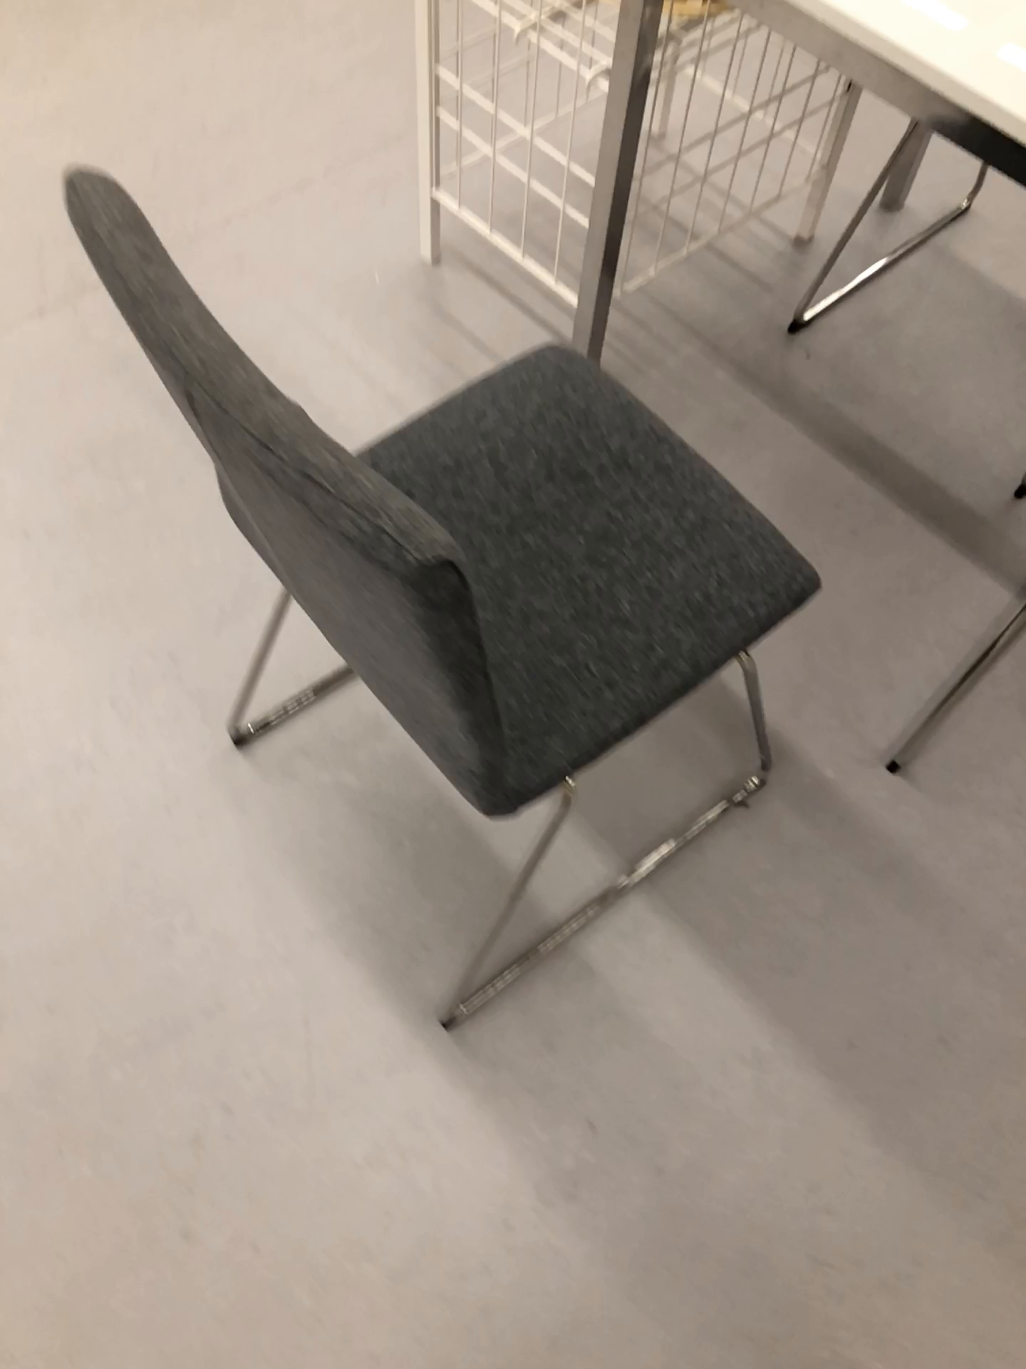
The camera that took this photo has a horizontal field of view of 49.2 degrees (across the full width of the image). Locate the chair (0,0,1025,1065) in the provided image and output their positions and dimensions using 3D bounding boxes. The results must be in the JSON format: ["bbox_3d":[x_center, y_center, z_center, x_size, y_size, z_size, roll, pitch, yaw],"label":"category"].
[{"bbox_3d":[0.000,-0.110,1.100,0.591,0.836,0.511,-34,67,-20],"label":"chair"}]
